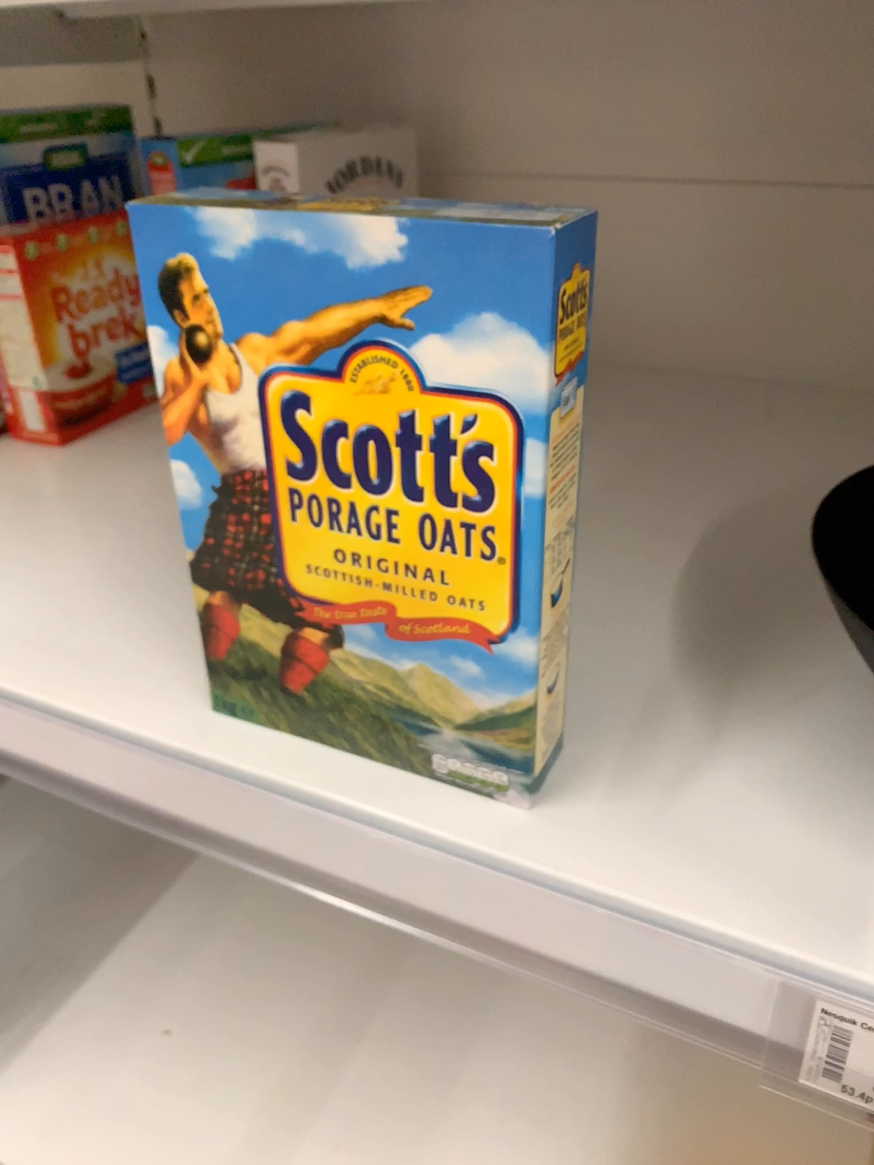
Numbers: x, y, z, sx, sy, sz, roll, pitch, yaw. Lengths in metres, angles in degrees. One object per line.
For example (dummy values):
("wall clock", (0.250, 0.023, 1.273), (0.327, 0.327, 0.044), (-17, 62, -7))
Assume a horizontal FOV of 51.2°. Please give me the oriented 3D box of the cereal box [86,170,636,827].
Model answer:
("cereal box", (-0.030, -0.040, 0.426), (0.210, 0.268, 0.071), (13, 33, 23))
